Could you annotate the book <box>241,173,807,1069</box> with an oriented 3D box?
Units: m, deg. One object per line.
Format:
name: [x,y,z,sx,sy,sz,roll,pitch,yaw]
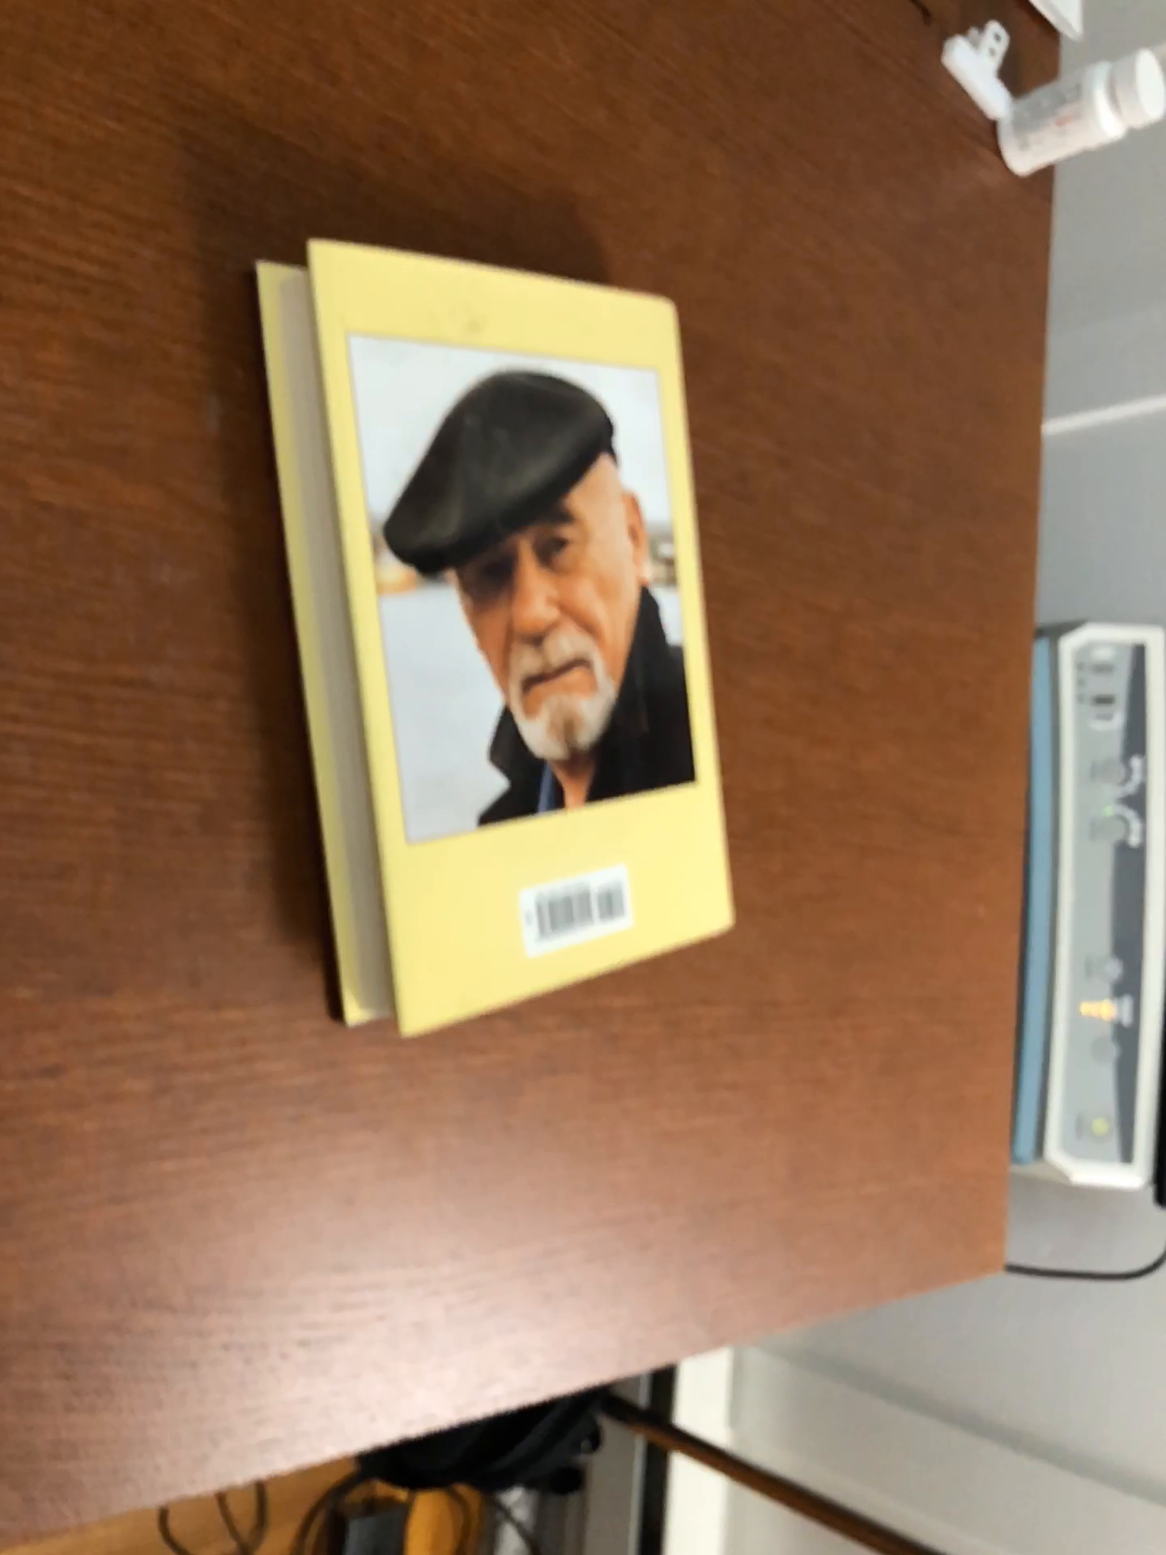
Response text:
book: [-0.007,-0.052,0.441,0.191,0.030,0.250,-9,95,-43]
